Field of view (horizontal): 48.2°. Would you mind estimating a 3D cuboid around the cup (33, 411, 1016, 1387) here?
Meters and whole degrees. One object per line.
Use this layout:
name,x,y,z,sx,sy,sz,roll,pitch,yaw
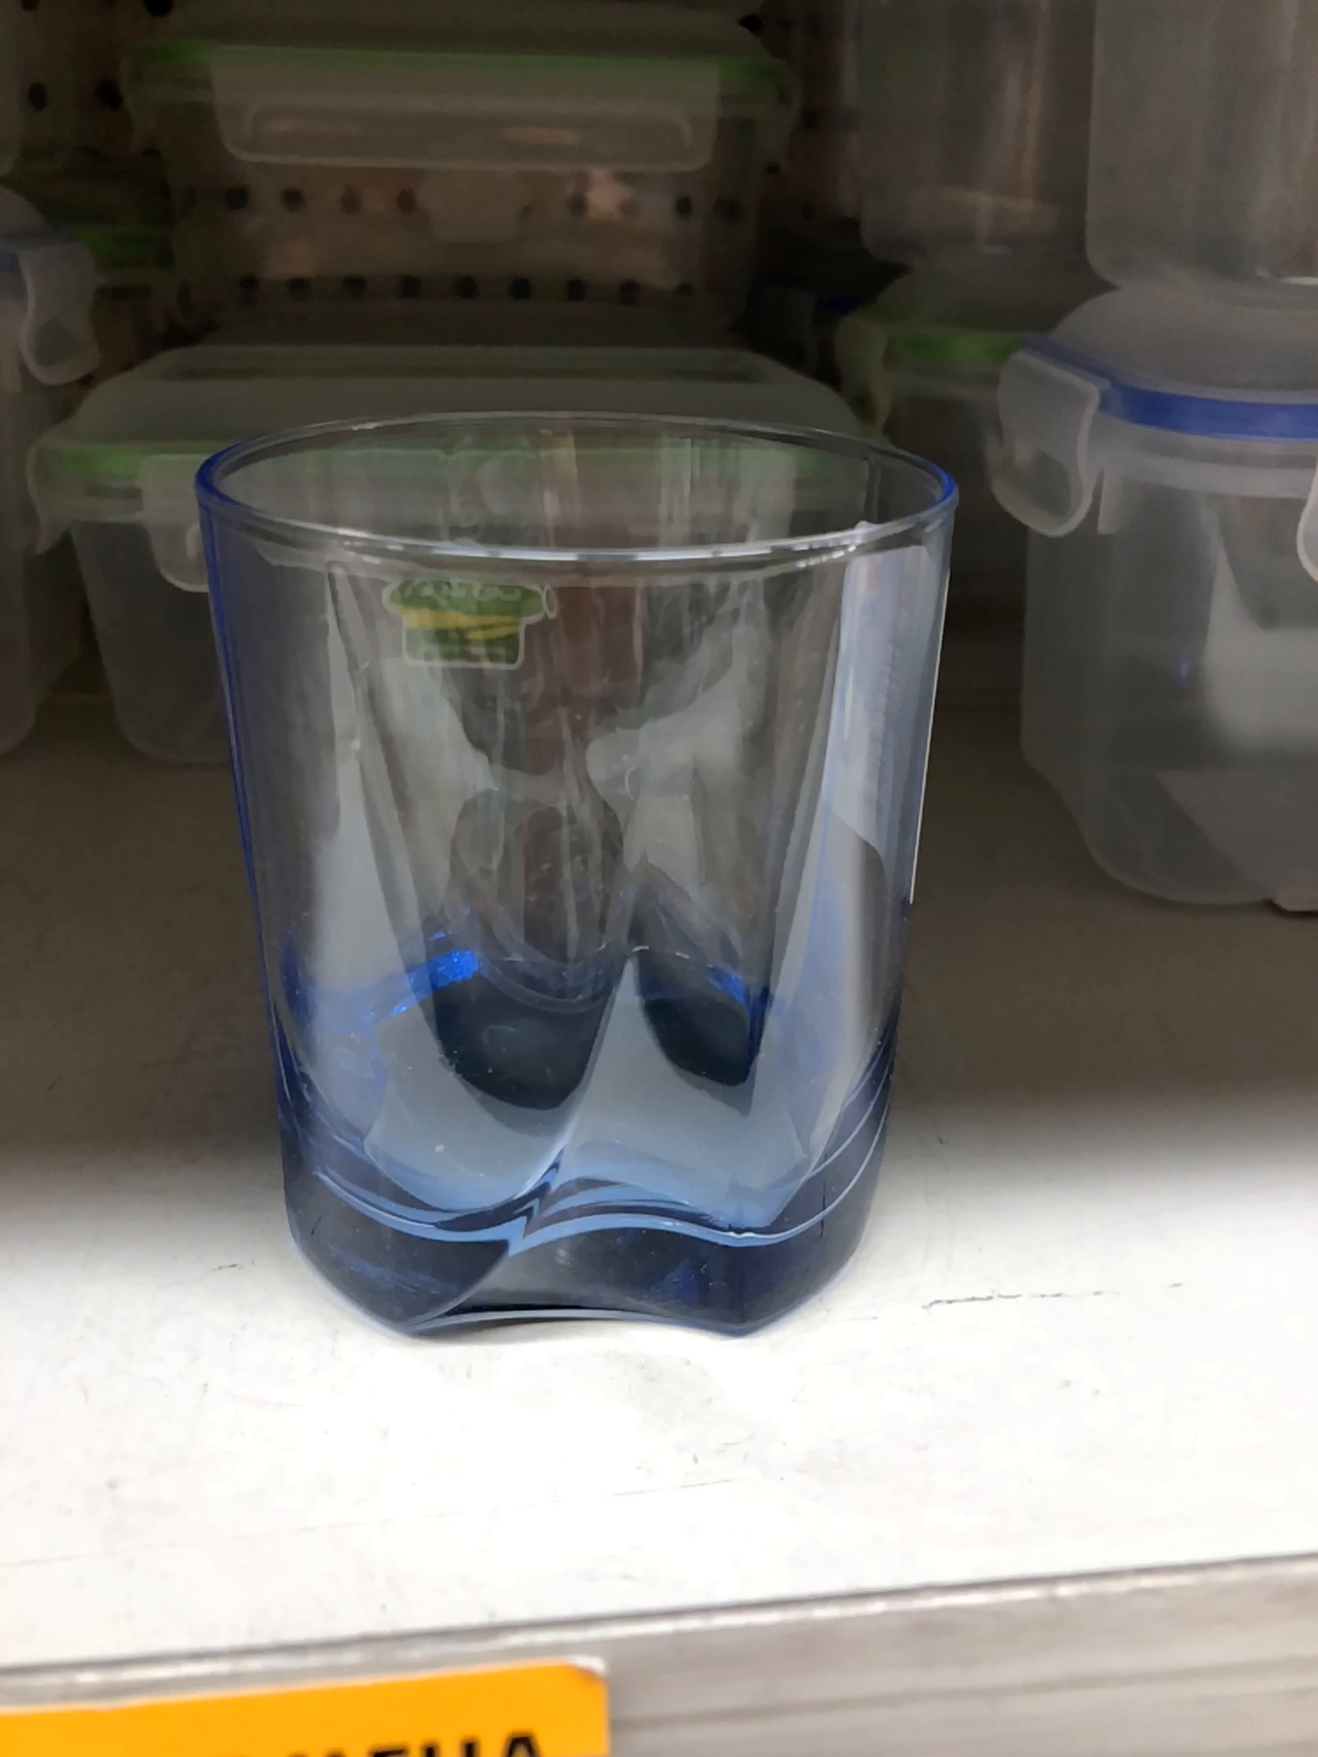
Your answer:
cup,-0.012,-0.004,0.184,0.085,0.095,0.083,0,24,0
